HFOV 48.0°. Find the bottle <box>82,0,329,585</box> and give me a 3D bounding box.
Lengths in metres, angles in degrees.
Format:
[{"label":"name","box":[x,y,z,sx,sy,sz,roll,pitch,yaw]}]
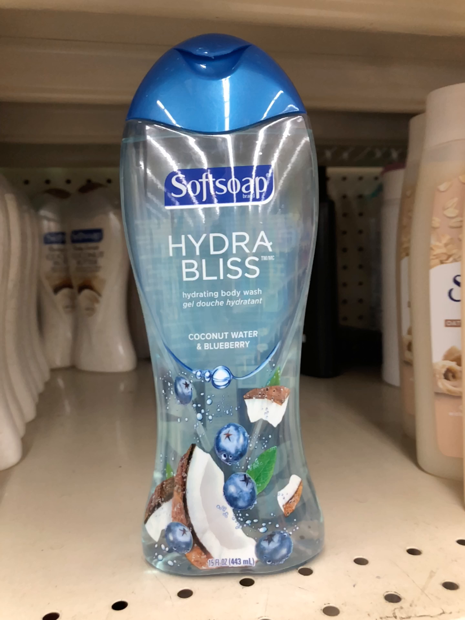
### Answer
[{"label":"bottle","box":[-0.007,-0.005,0.211,0.080,0.211,0.051,-2,8,-2]}]
